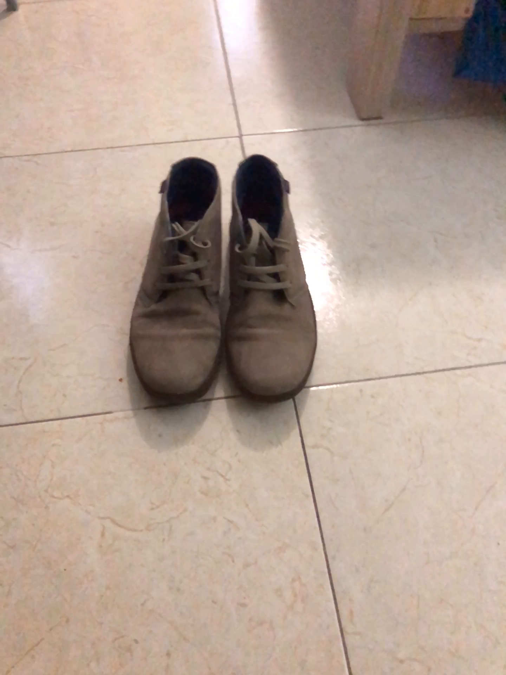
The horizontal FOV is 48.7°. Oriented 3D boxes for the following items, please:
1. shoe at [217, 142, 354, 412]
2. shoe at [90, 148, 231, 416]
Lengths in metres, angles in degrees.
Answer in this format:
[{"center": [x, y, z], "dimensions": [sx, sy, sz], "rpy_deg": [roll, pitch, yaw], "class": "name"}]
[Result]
[{"center": [0.024, -0.073, 0.616], "dimensions": [0.120, 0.120, 0.281], "rpy_deg": [-1, 57, -1], "class": "shoe"}, {"center": [-0.087, -0.068, 0.619], "dimensions": [0.110, 0.120, 0.281], "rpy_deg": [1, 57, 0], "class": "shoe"}]
